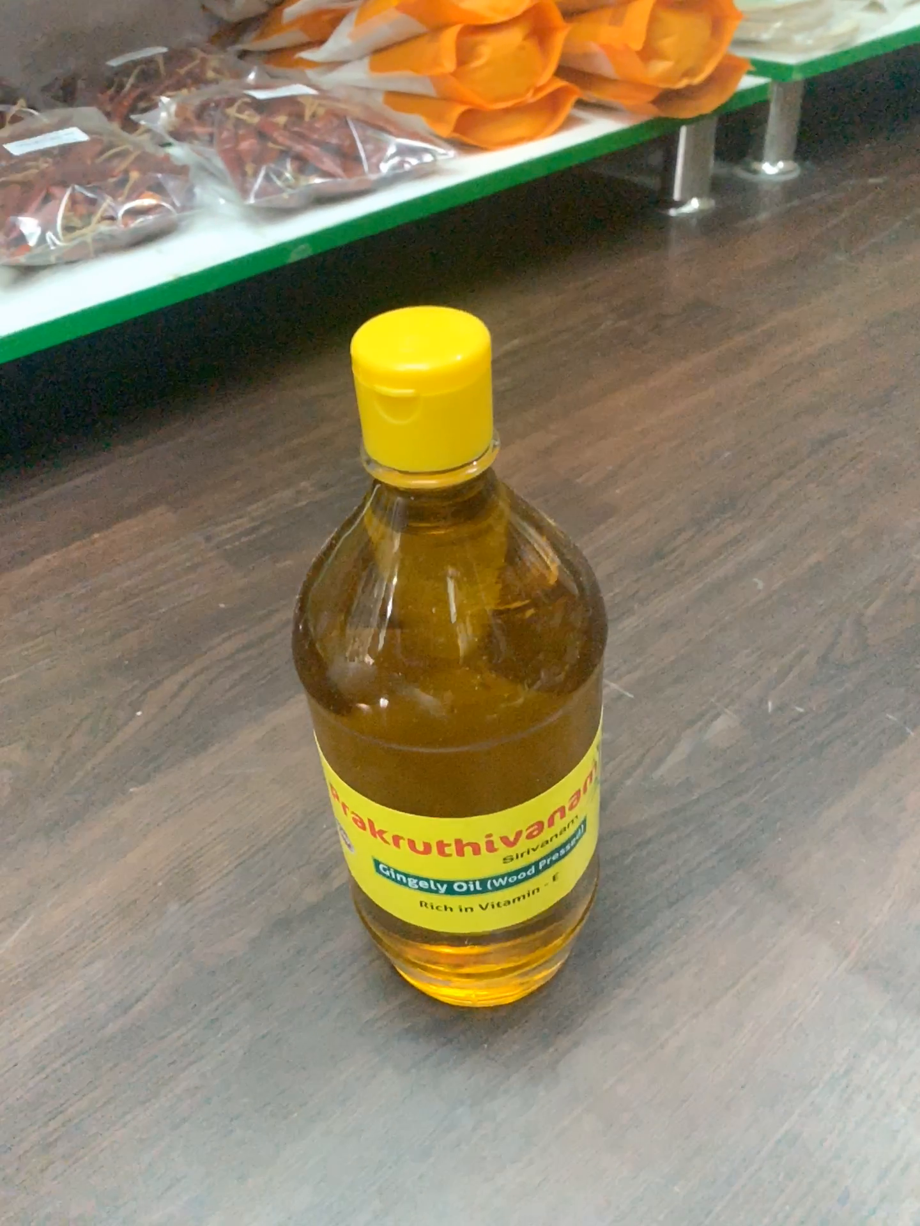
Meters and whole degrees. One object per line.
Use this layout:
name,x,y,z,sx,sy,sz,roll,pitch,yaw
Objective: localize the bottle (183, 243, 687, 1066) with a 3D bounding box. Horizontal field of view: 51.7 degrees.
bottle,-0.005,0.026,0.274,0.090,0.219,0.090,-3,41,3
